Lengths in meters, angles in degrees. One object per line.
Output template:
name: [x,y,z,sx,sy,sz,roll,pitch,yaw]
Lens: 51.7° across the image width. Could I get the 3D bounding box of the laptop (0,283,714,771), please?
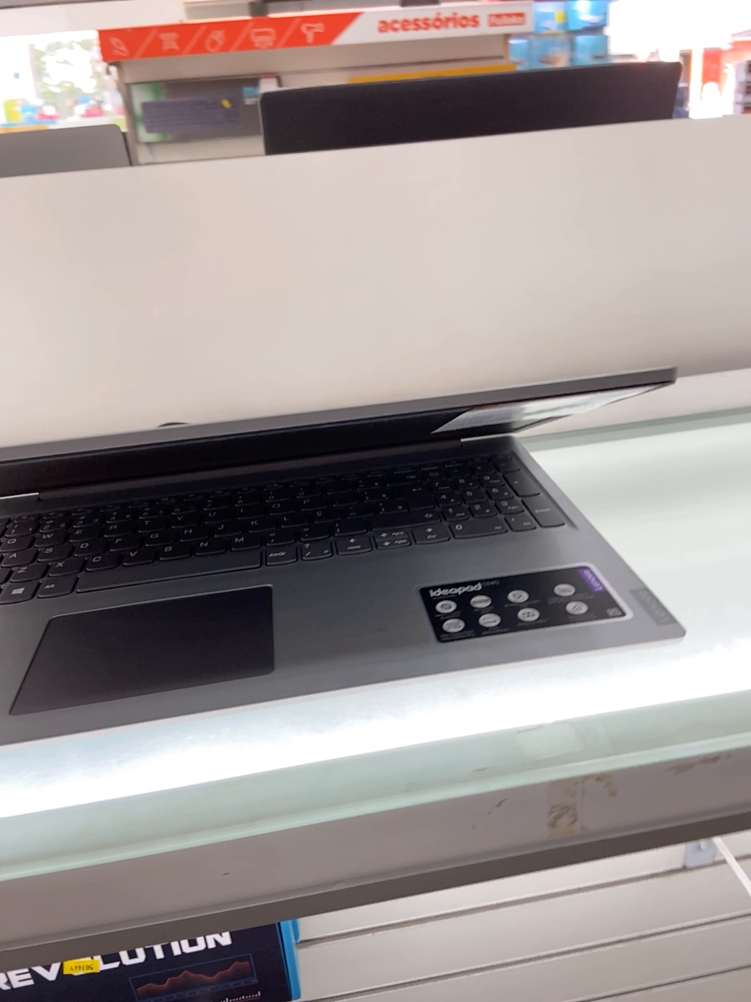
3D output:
laptop: [-0.066,-0.019,0.391,0.353,0.104,0.240,-8,25,-6]
